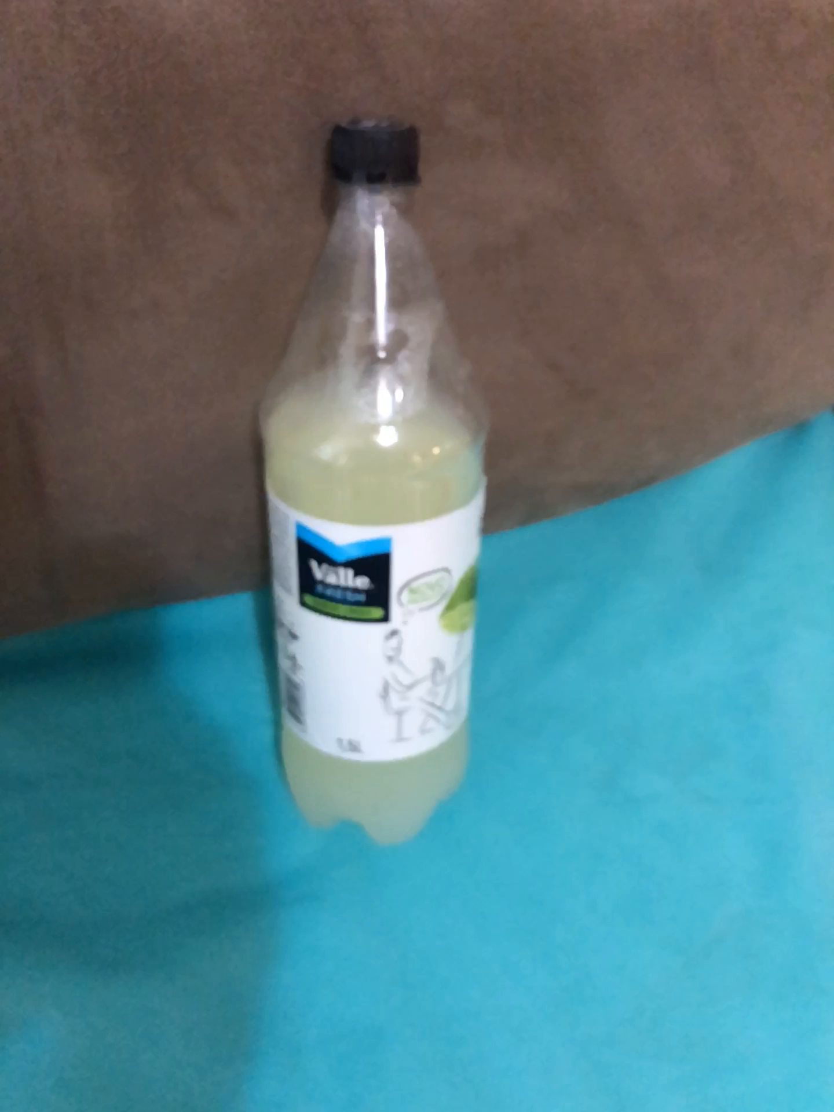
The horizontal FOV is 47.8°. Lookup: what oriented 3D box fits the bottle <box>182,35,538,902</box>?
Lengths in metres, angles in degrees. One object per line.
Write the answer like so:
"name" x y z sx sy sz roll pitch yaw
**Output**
"bottle" -0.018 -0.028 0.402 0.100 0.329 0.100 -3 23 1
